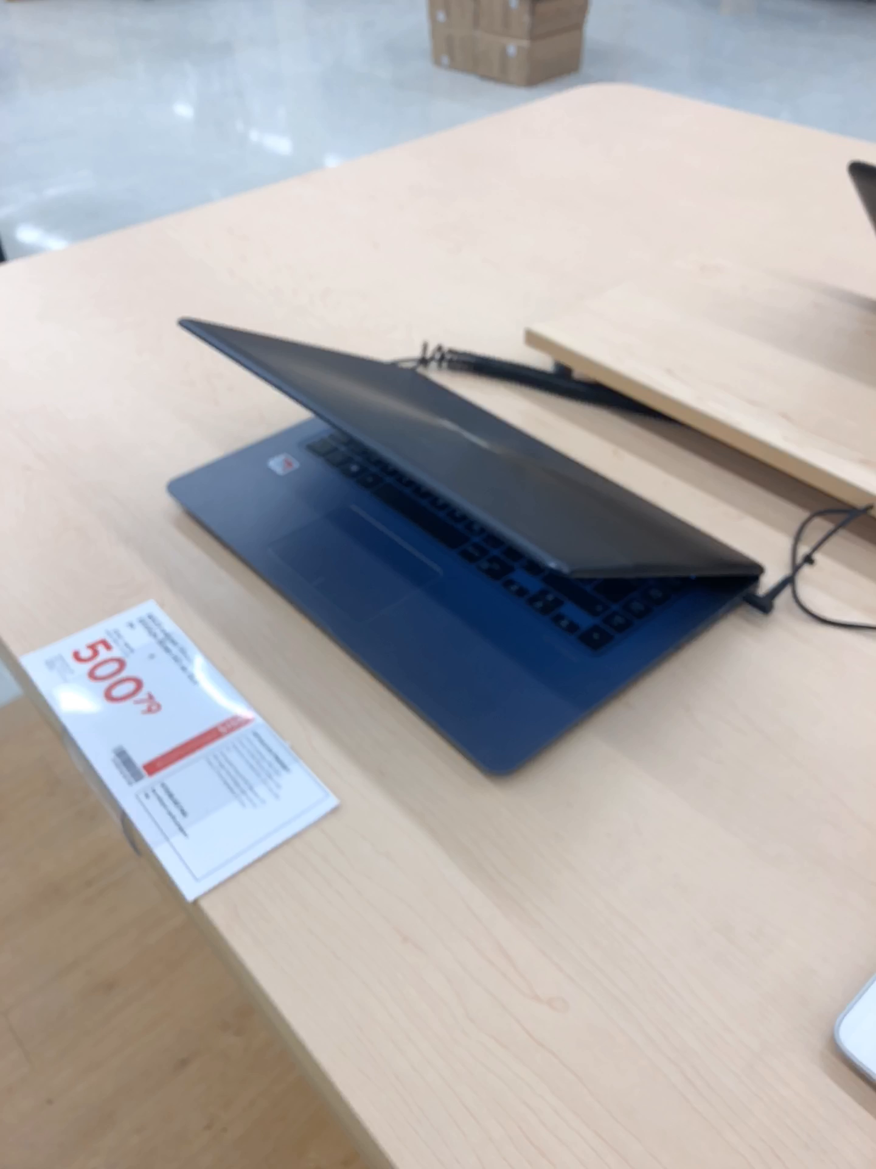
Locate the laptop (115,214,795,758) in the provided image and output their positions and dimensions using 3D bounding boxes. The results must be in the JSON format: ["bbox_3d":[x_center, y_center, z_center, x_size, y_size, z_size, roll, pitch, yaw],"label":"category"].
[{"bbox_3d":[-0.001,-0.094,0.633,0.232,0.136,0.346,-31,50,-29],"label":"laptop"}]
